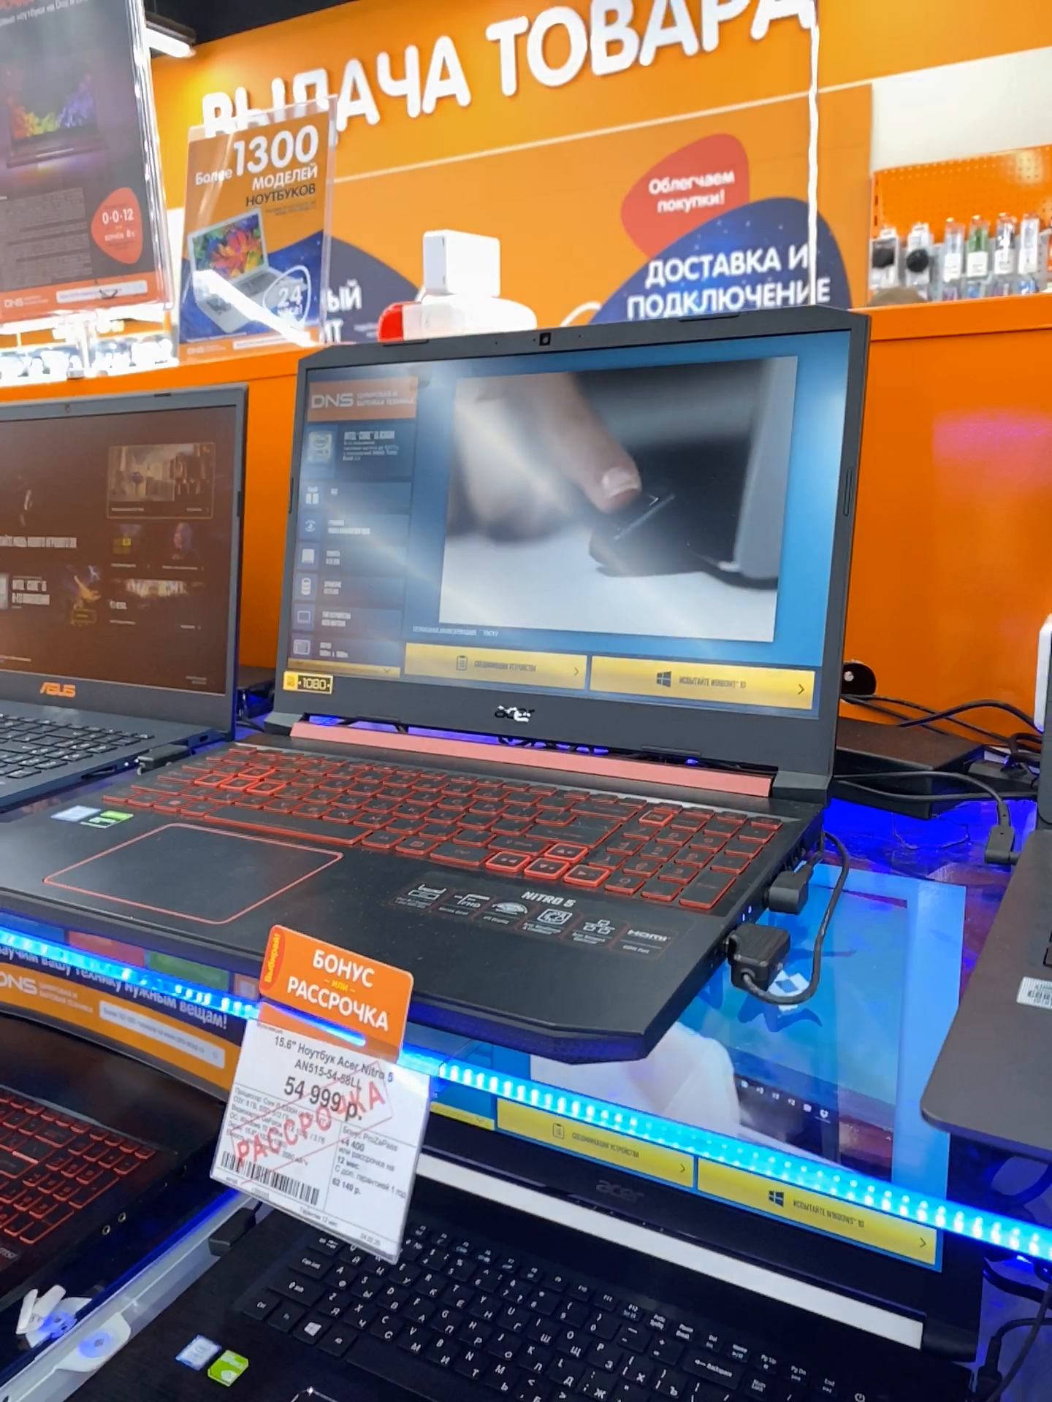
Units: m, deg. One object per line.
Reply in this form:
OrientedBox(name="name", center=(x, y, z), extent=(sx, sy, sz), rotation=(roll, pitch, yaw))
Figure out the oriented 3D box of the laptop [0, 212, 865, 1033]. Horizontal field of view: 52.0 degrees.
OrientedBox(name="laptop", center=(-0.058, -0.060, 0.519), extent=(0.361, 0.237, 0.303), rotation=(5, 14, 27))
